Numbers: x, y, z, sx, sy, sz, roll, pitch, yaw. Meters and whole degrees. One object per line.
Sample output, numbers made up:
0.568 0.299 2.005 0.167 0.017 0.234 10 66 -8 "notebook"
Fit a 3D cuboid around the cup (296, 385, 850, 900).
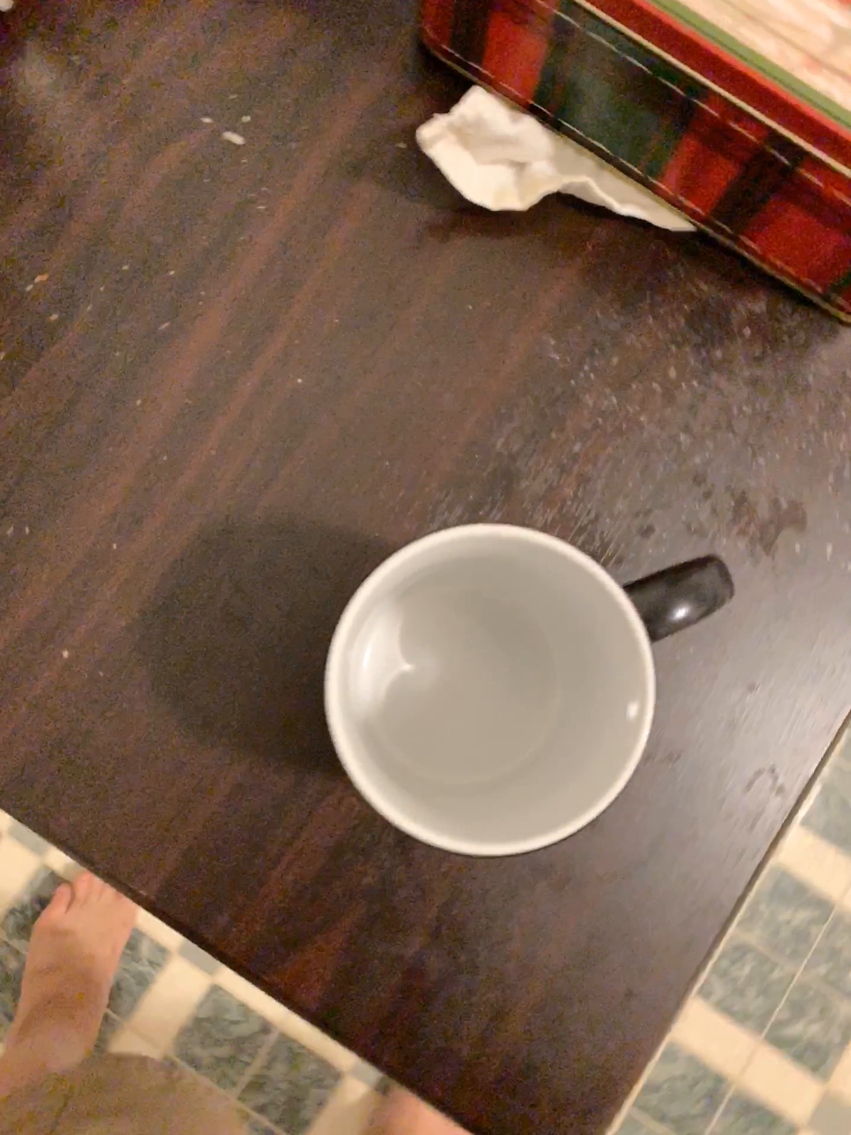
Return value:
0.042 0.022 0.265 0.130 0.100 0.080 -24 85 -5 "cup"
